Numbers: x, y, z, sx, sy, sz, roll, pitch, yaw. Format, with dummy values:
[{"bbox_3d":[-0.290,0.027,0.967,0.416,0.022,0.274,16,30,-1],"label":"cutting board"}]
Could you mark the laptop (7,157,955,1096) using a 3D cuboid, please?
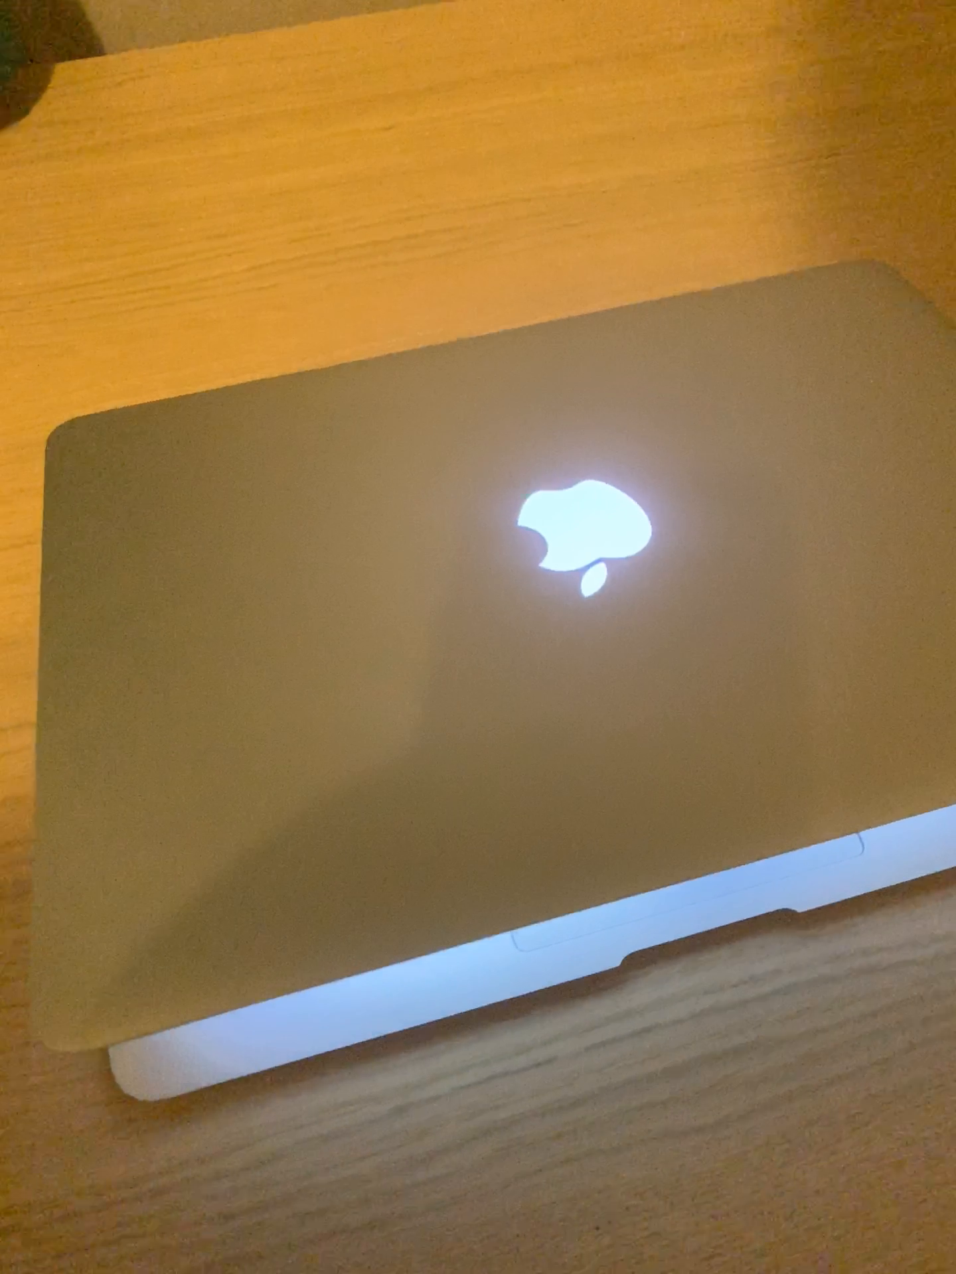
[{"bbox_3d":[0.034,-0.027,0.298,0.319,0.048,0.218,-14,61,-7],"label":"laptop"}]
